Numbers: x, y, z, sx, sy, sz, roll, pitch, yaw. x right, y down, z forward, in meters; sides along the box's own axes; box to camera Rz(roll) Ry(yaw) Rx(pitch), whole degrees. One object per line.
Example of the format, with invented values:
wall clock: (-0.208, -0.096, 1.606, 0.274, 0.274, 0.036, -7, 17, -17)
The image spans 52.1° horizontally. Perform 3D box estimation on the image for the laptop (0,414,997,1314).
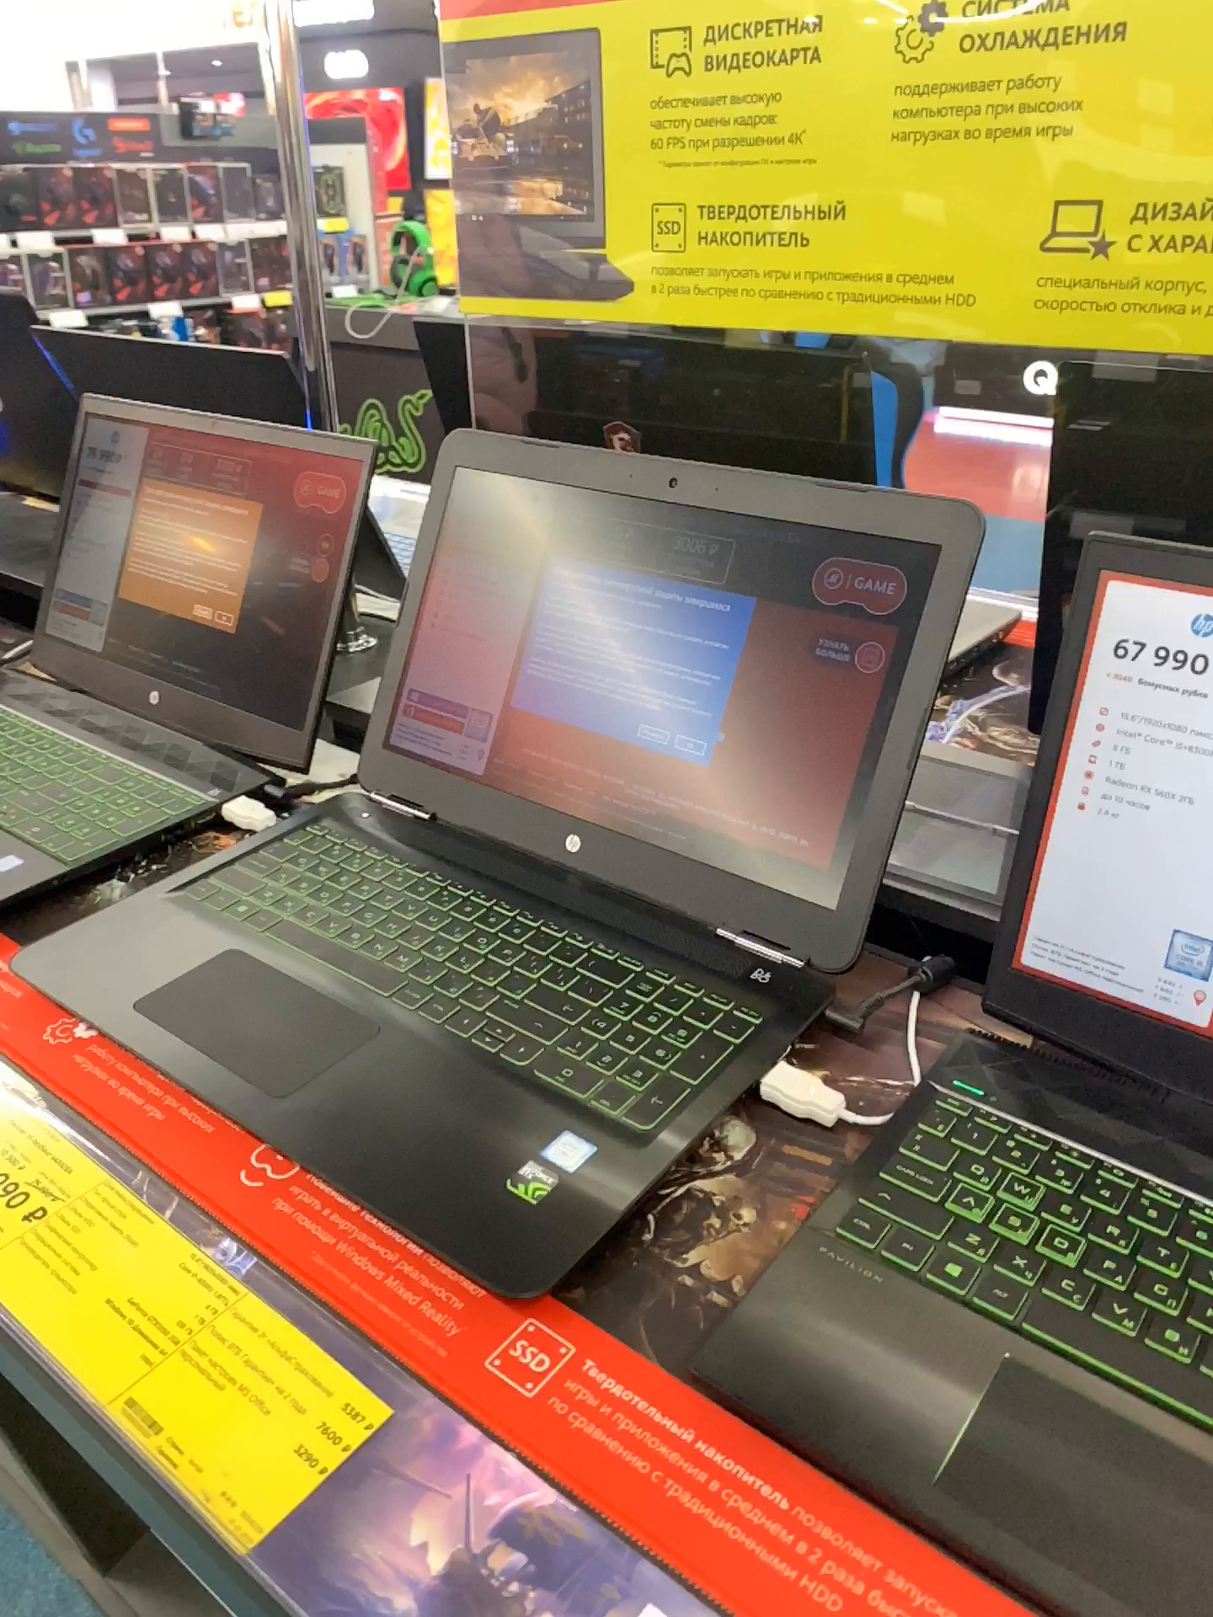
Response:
laptop: (-0.066, -0.039, 0.655, 0.385, 0.223, 0.380, 19, 34, 33)
